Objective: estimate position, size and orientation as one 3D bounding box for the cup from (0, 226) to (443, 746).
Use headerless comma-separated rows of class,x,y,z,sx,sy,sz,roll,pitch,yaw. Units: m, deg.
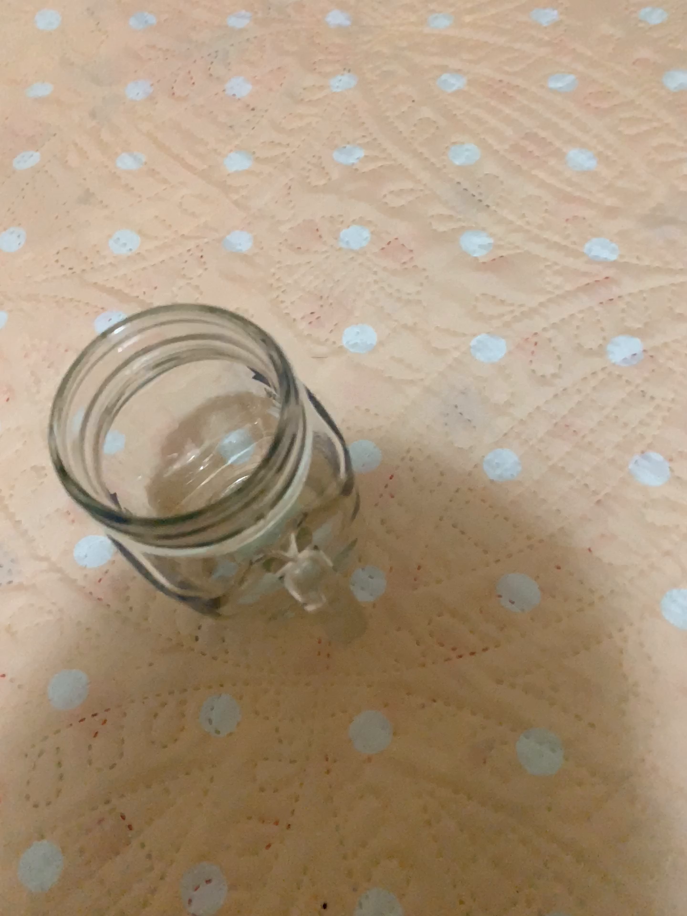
cup,-0.035,0.019,0.223,0.080,0.120,0.100,-35,67,-11
